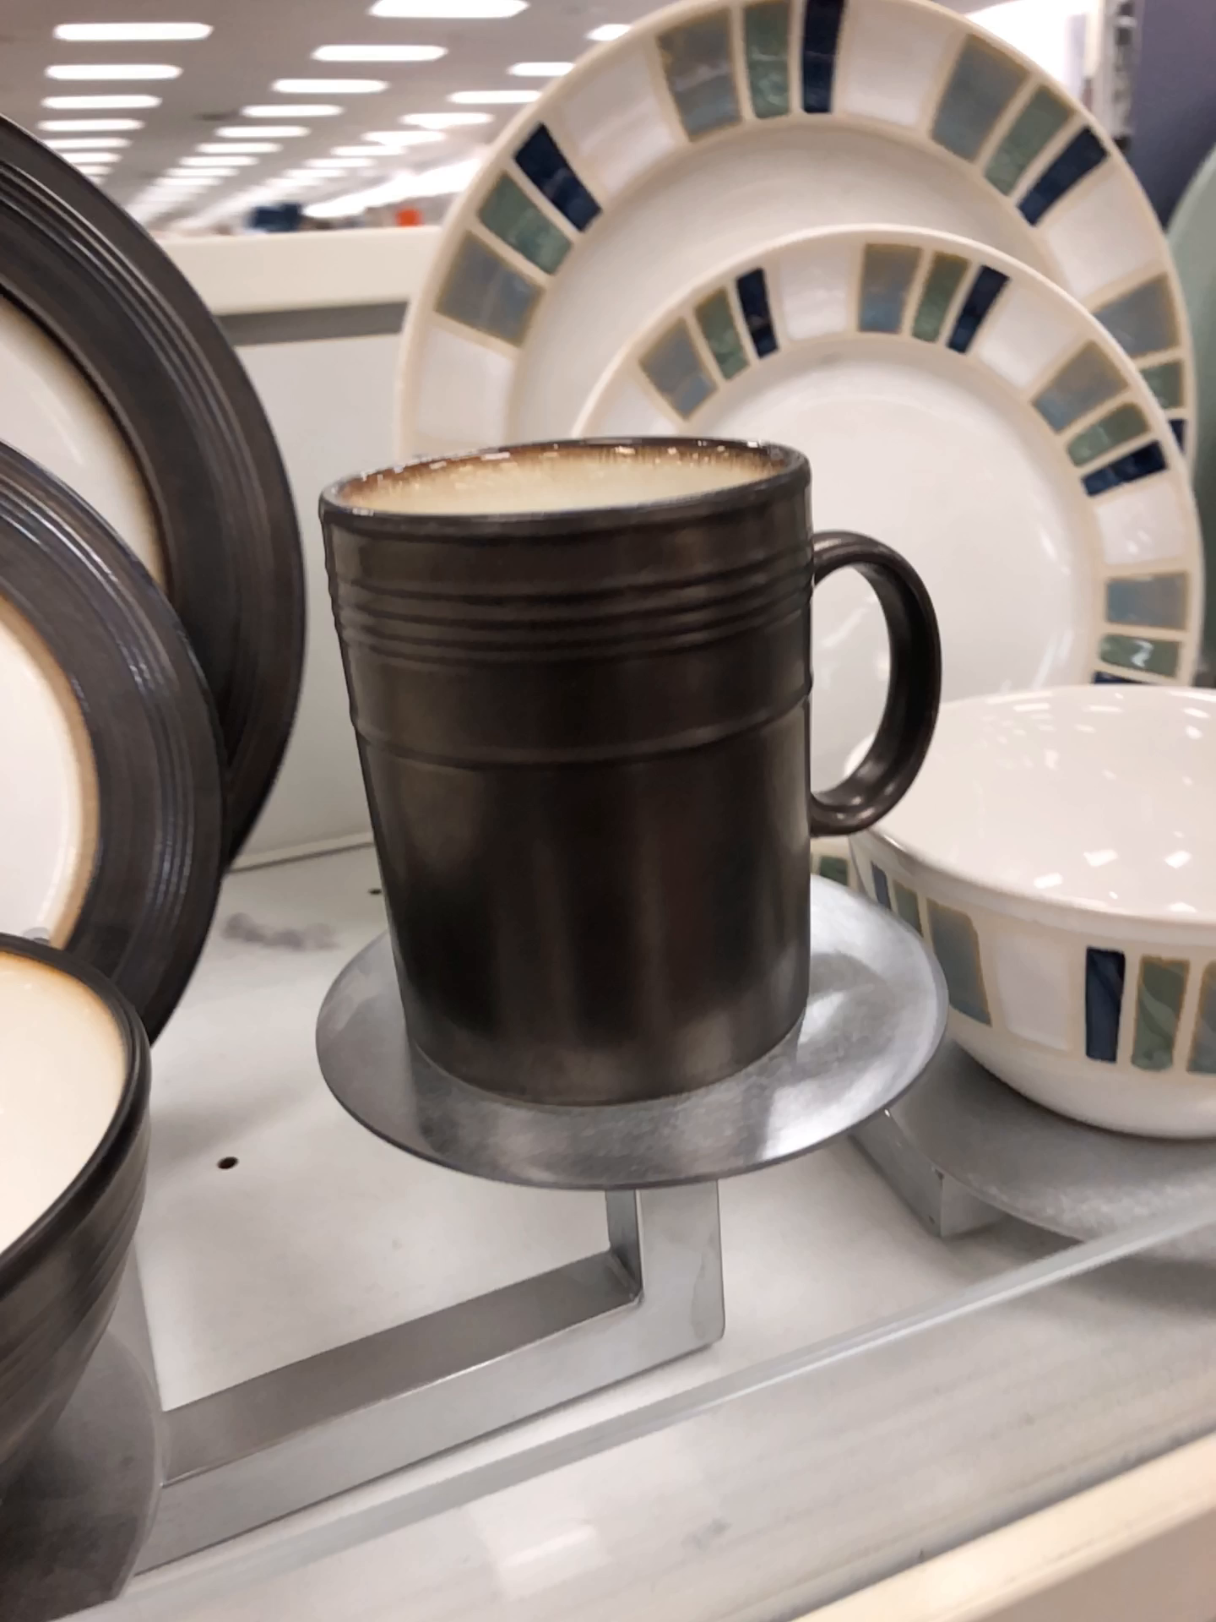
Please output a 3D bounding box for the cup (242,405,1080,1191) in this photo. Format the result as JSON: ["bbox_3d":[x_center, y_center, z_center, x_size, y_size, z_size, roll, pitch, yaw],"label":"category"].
[{"bbox_3d":[0.011,-0.015,0.254,0.119,0.102,0.084,-16,25,-29],"label":"cup"}]
